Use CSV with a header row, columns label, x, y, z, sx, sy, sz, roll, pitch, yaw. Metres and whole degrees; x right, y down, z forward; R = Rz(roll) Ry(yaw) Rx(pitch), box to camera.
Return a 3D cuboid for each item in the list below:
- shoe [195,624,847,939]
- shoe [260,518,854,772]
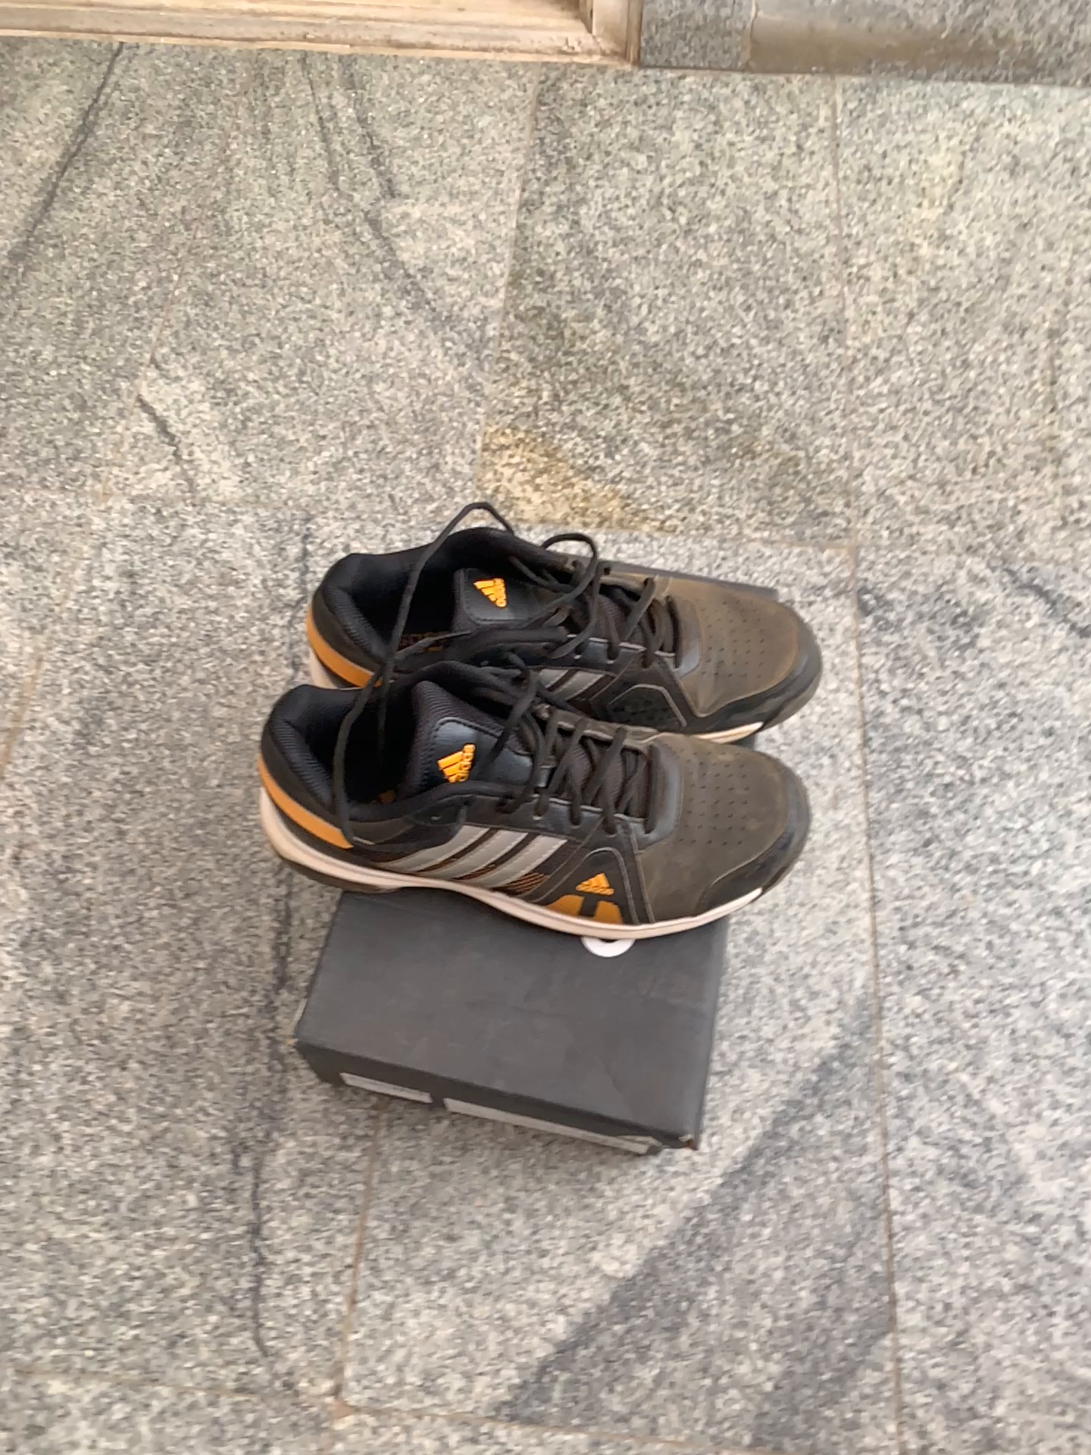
label,x,y,z,sx,sy,sz,roll,pitch,yaw
shoe,-0.008,0.028,0.562,0.290,0.090,0.111,4,60,3
shoe,0.005,-0.044,0.627,0.300,0.090,0.110,-1,68,0
